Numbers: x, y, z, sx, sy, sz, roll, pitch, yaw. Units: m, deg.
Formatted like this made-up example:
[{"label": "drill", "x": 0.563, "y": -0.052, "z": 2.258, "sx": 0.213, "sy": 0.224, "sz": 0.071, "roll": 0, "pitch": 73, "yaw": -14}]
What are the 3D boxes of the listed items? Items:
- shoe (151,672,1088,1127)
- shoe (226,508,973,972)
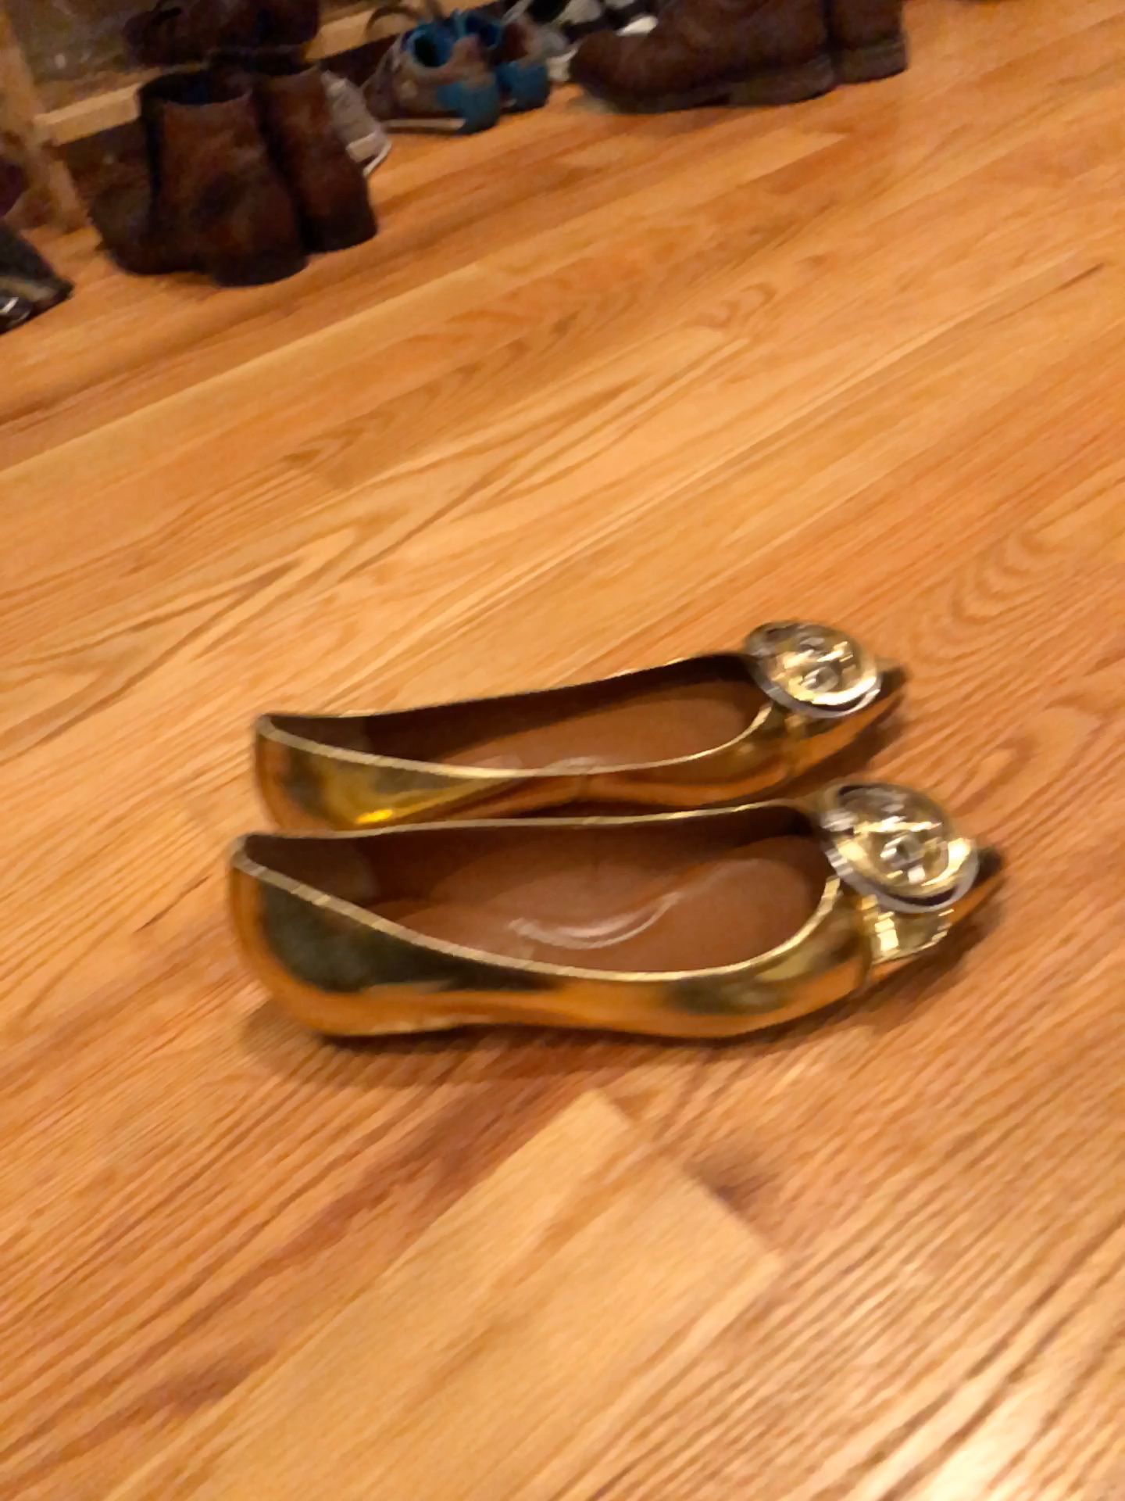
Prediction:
[{"label": "shoe", "x": 0.015, "y": 0.045, "z": 0.376, "sx": 0.249, "sy": 0.066, "sz": 0.078, "roll": -9, "pitch": 39, "yaw": 4}, {"label": "shoe", "x": 0.011, "y": -0.008, "z": 0.442, "sx": 0.244, "sy": 0.066, "sz": 0.083, "roll": -16, "pitch": 39, "yaw": -5}]
